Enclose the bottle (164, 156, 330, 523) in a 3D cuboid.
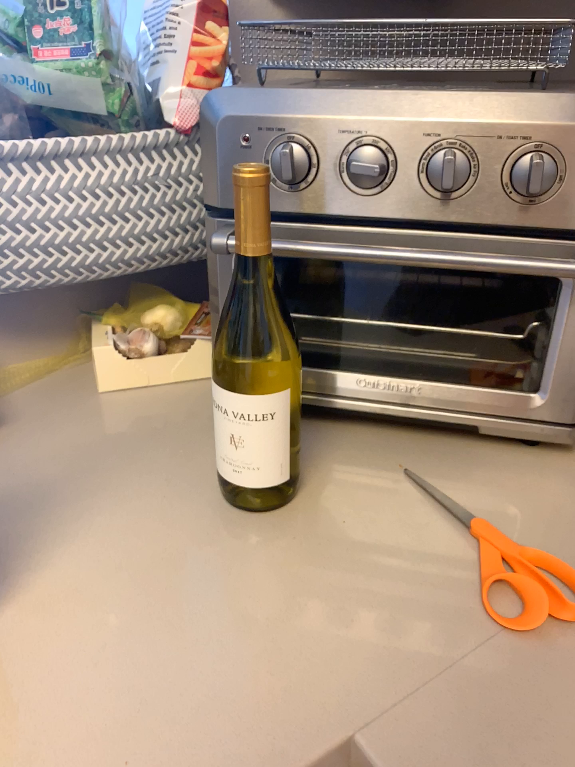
[{"bbox_3d":[-0.026,-0.033,0.495,0.090,0.278,0.091,0,28,0],"label":"bottle"}]
